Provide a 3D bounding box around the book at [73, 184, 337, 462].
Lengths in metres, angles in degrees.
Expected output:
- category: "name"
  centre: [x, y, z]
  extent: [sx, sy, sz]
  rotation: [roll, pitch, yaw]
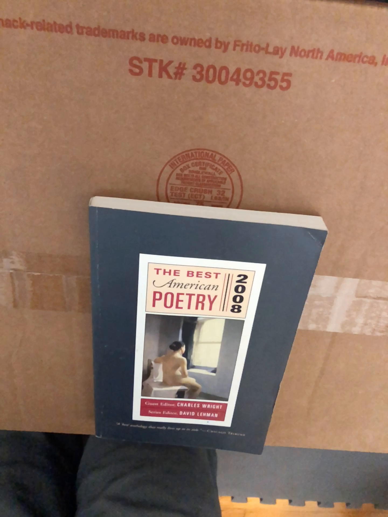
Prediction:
- category: "book"
  centre: [-0.001, 0.064, 0.312]
  extent: [0.150, 0.020, 0.231]
  rotation: [4, 121, -1]
